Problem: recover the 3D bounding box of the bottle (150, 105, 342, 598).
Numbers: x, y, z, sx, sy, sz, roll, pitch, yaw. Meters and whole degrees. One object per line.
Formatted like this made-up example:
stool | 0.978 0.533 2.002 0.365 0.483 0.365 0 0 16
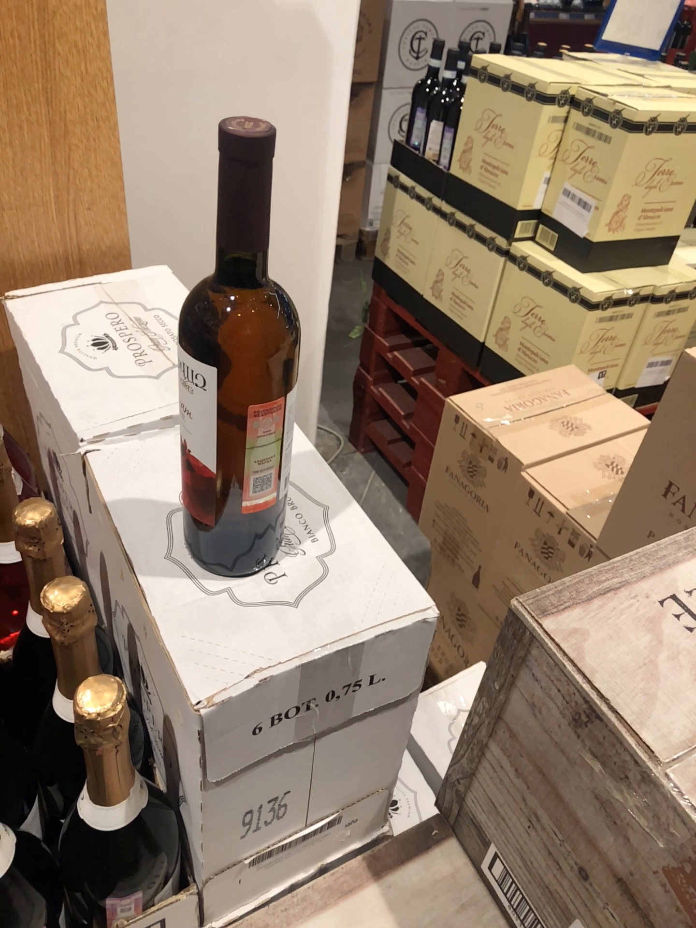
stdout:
bottle | -0.072 -0.056 0.488 0.080 0.298 0.090 -7 40 -19
